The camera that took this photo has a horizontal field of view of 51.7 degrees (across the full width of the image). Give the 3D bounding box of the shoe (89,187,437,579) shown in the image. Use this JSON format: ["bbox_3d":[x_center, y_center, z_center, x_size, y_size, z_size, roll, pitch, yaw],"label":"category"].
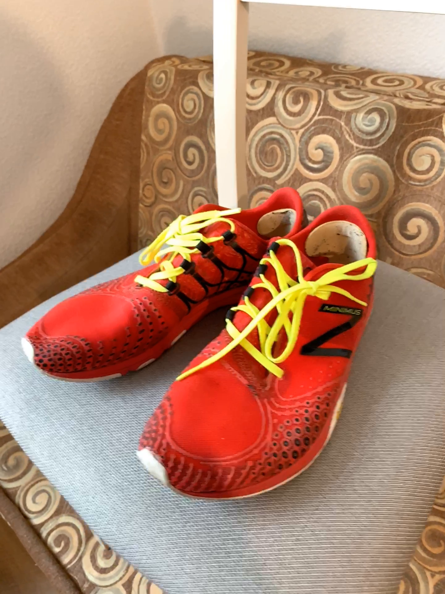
[{"bbox_3d":[0.048,0.035,0.336,0.110,0.090,0.261,22,52,29],"label":"shoe"}]

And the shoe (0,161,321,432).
[{"bbox_3d":[-0.049,-0.014,0.411,0.260,0.090,0.111,-29,47,-19],"label":"shoe"}]
